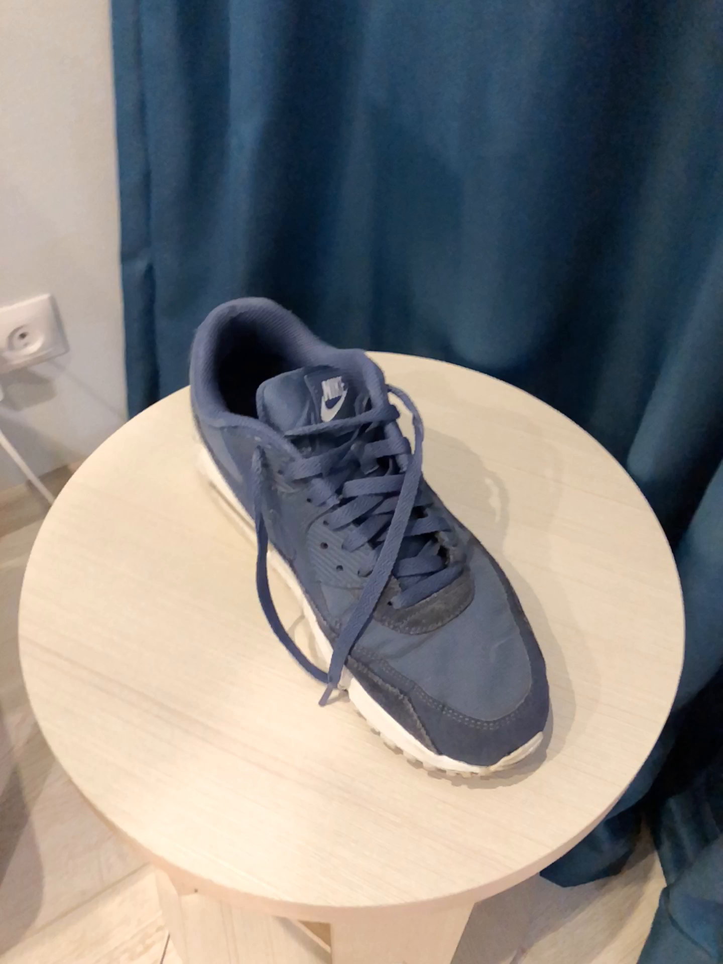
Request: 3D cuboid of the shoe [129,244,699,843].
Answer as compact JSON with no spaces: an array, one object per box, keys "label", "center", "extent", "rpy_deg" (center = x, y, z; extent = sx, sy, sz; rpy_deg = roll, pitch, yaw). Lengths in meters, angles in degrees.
[{"label":"shoe","center":[0.003,0.009,0.399],"extent":[0.110,0.109,0.281],"rpy_deg":[-26,53,-24]}]
